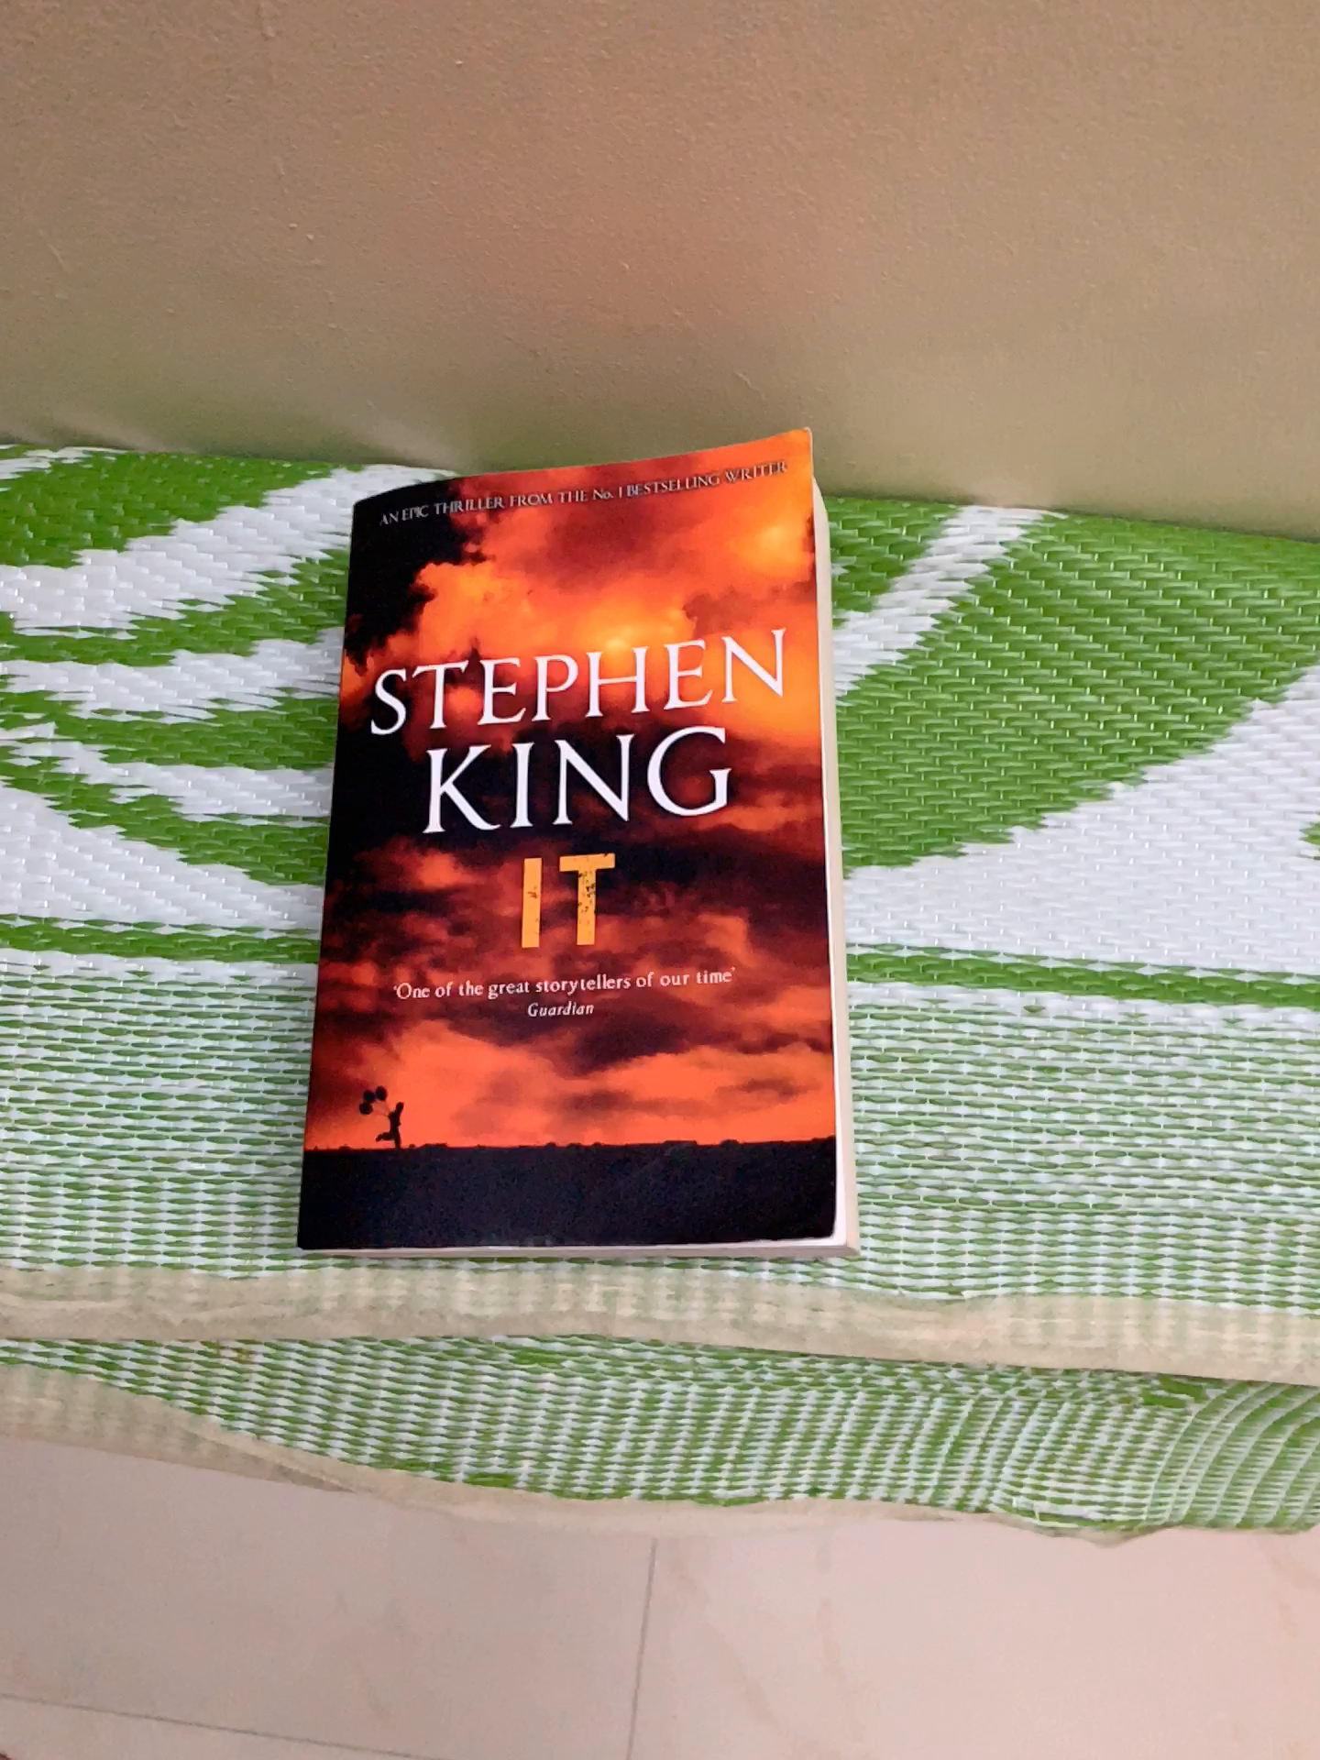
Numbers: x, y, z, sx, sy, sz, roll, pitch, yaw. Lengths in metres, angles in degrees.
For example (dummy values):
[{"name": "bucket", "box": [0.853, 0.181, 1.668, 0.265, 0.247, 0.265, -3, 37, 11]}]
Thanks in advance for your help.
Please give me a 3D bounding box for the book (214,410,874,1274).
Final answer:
[{"name": "book", "box": [-0.021, -0.010, 0.354, 0.140, 0.070, 0.210, -1, 70, 5]}]
